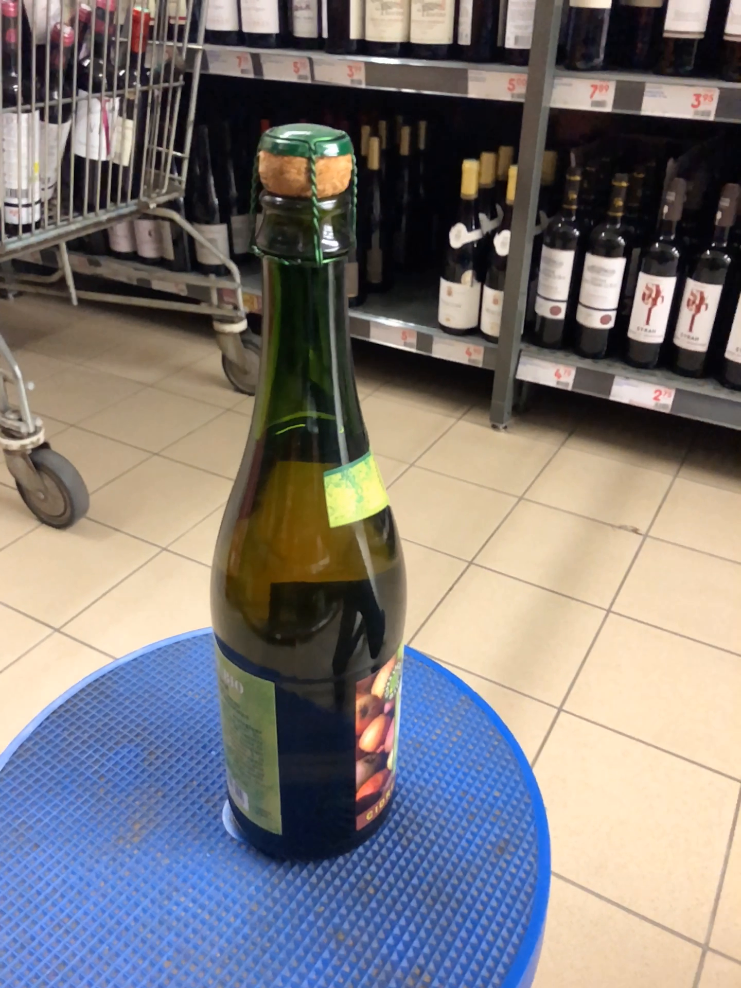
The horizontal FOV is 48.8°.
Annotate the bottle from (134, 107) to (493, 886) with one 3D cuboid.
[{"bbox_3d":[-0.024,0.015,0.316,0.090,0.288,0.090,1,32,0],"label":"bottle"}]
